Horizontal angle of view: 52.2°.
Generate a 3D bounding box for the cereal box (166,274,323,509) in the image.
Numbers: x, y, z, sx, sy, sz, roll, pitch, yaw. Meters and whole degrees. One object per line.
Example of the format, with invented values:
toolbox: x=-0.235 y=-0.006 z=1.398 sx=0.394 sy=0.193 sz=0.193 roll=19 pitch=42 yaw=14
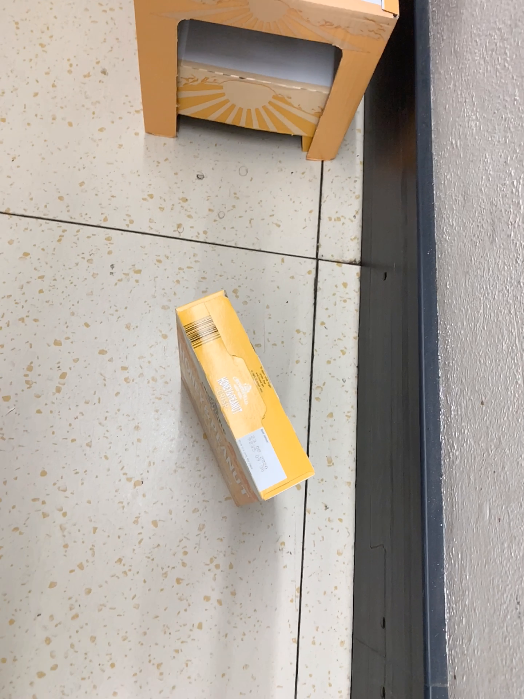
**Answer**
cereal box: x=-0.033 y=0.067 z=0.564 sx=0.050 sy=0.269 sz=0.190 roll=-24 pitch=78 yaw=-14
